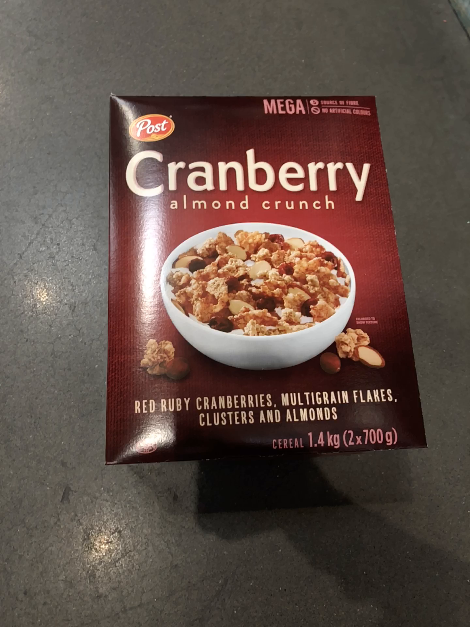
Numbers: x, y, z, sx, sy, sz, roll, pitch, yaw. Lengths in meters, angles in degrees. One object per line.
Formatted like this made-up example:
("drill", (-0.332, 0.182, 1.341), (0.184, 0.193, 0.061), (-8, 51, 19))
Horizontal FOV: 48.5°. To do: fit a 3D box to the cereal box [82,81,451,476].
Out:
("cereal box", (0.010, -0.030, 0.464), (0.260, 0.130, 0.310), (-3, 75, -6))
